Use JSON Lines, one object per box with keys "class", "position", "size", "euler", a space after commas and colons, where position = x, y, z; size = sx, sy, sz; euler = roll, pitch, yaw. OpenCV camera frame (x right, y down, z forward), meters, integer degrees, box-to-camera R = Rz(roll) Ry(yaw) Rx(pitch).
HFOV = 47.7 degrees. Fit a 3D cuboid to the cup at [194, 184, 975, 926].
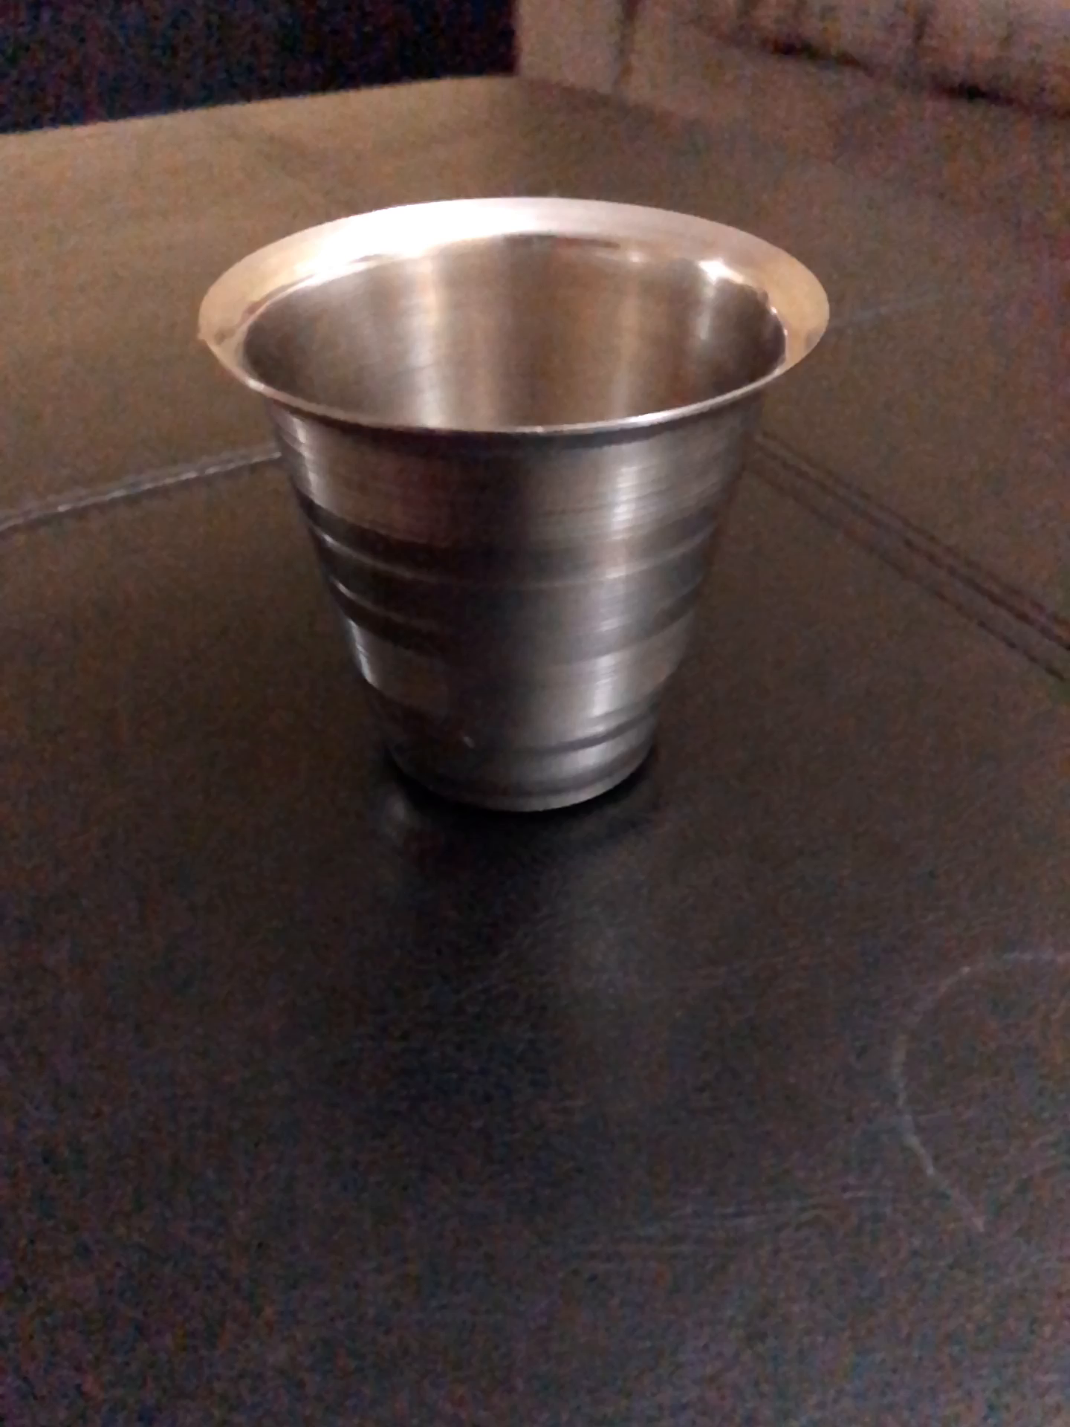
{"class": "cup", "position": [-0.001, -0.025, 0.146], "size": [0.067, 0.052, 0.074], "euler": [-1, 37, 0]}
